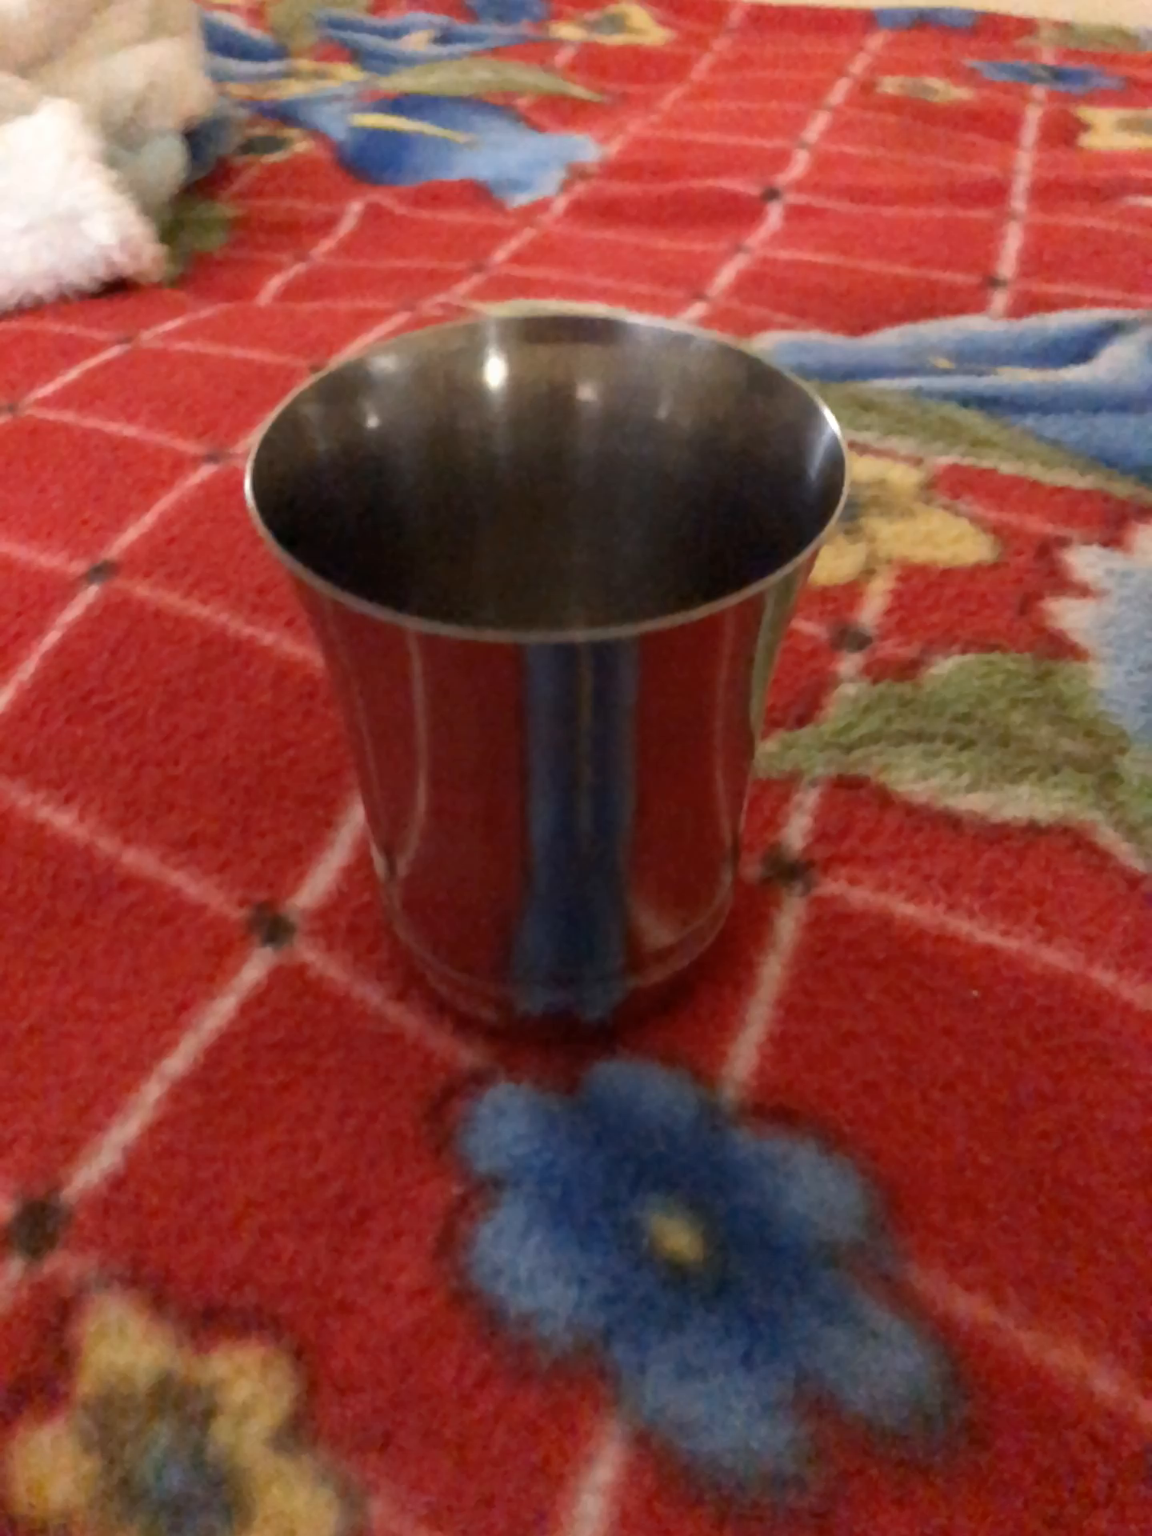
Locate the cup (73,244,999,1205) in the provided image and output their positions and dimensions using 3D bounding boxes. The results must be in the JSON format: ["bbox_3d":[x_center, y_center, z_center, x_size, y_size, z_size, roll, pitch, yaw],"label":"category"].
[{"bbox_3d":[-0.001,-0.011,0.196,0.089,0.090,0.087,2,43,-2],"label":"cup"}]
